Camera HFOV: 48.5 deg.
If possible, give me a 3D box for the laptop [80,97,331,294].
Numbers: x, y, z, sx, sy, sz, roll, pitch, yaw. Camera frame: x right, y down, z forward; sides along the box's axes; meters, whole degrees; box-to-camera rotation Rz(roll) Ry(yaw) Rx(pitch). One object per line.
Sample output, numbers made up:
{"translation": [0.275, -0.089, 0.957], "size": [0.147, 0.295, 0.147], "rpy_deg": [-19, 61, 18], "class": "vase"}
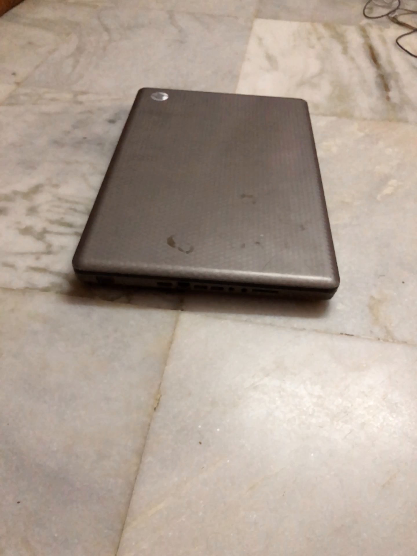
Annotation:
{"translation": [0.011, -0.132, 0.586], "size": [0.248, 0.002, 0.380], "rpy_deg": [4, 47, 1], "class": "laptop"}
